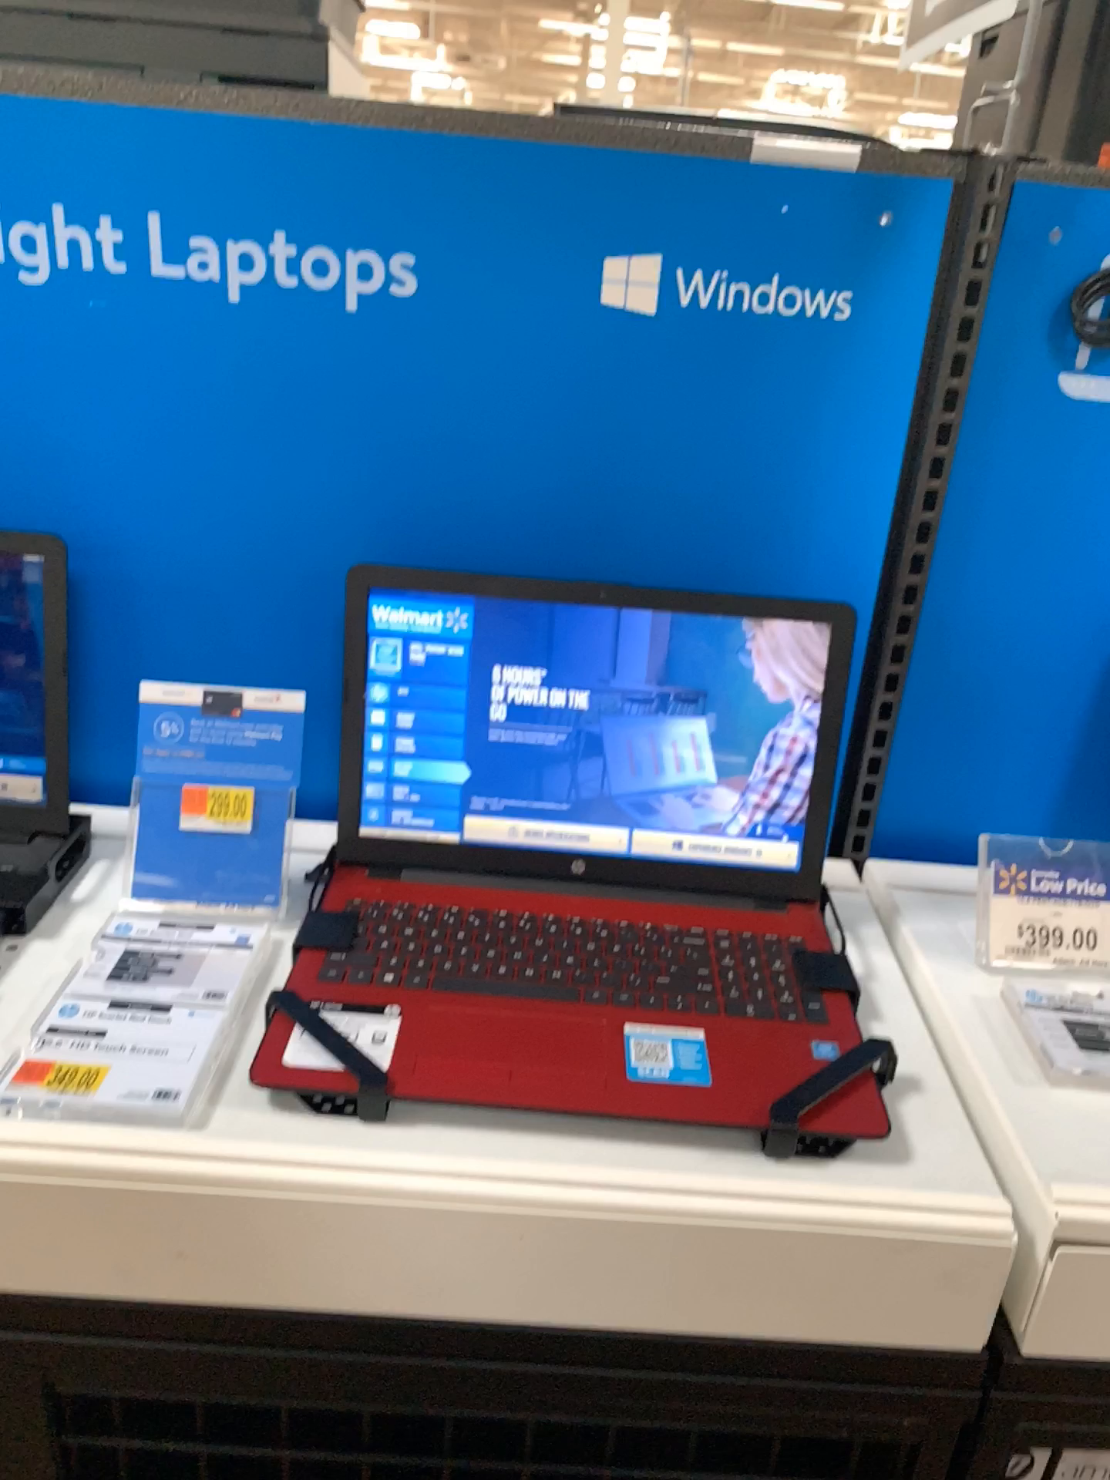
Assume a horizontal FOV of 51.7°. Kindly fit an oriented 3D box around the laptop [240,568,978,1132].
[{"bbox_3d":[0.024,0.050,0.735,0.364,0.223,0.280,5,24,0],"label":"laptop"}]
